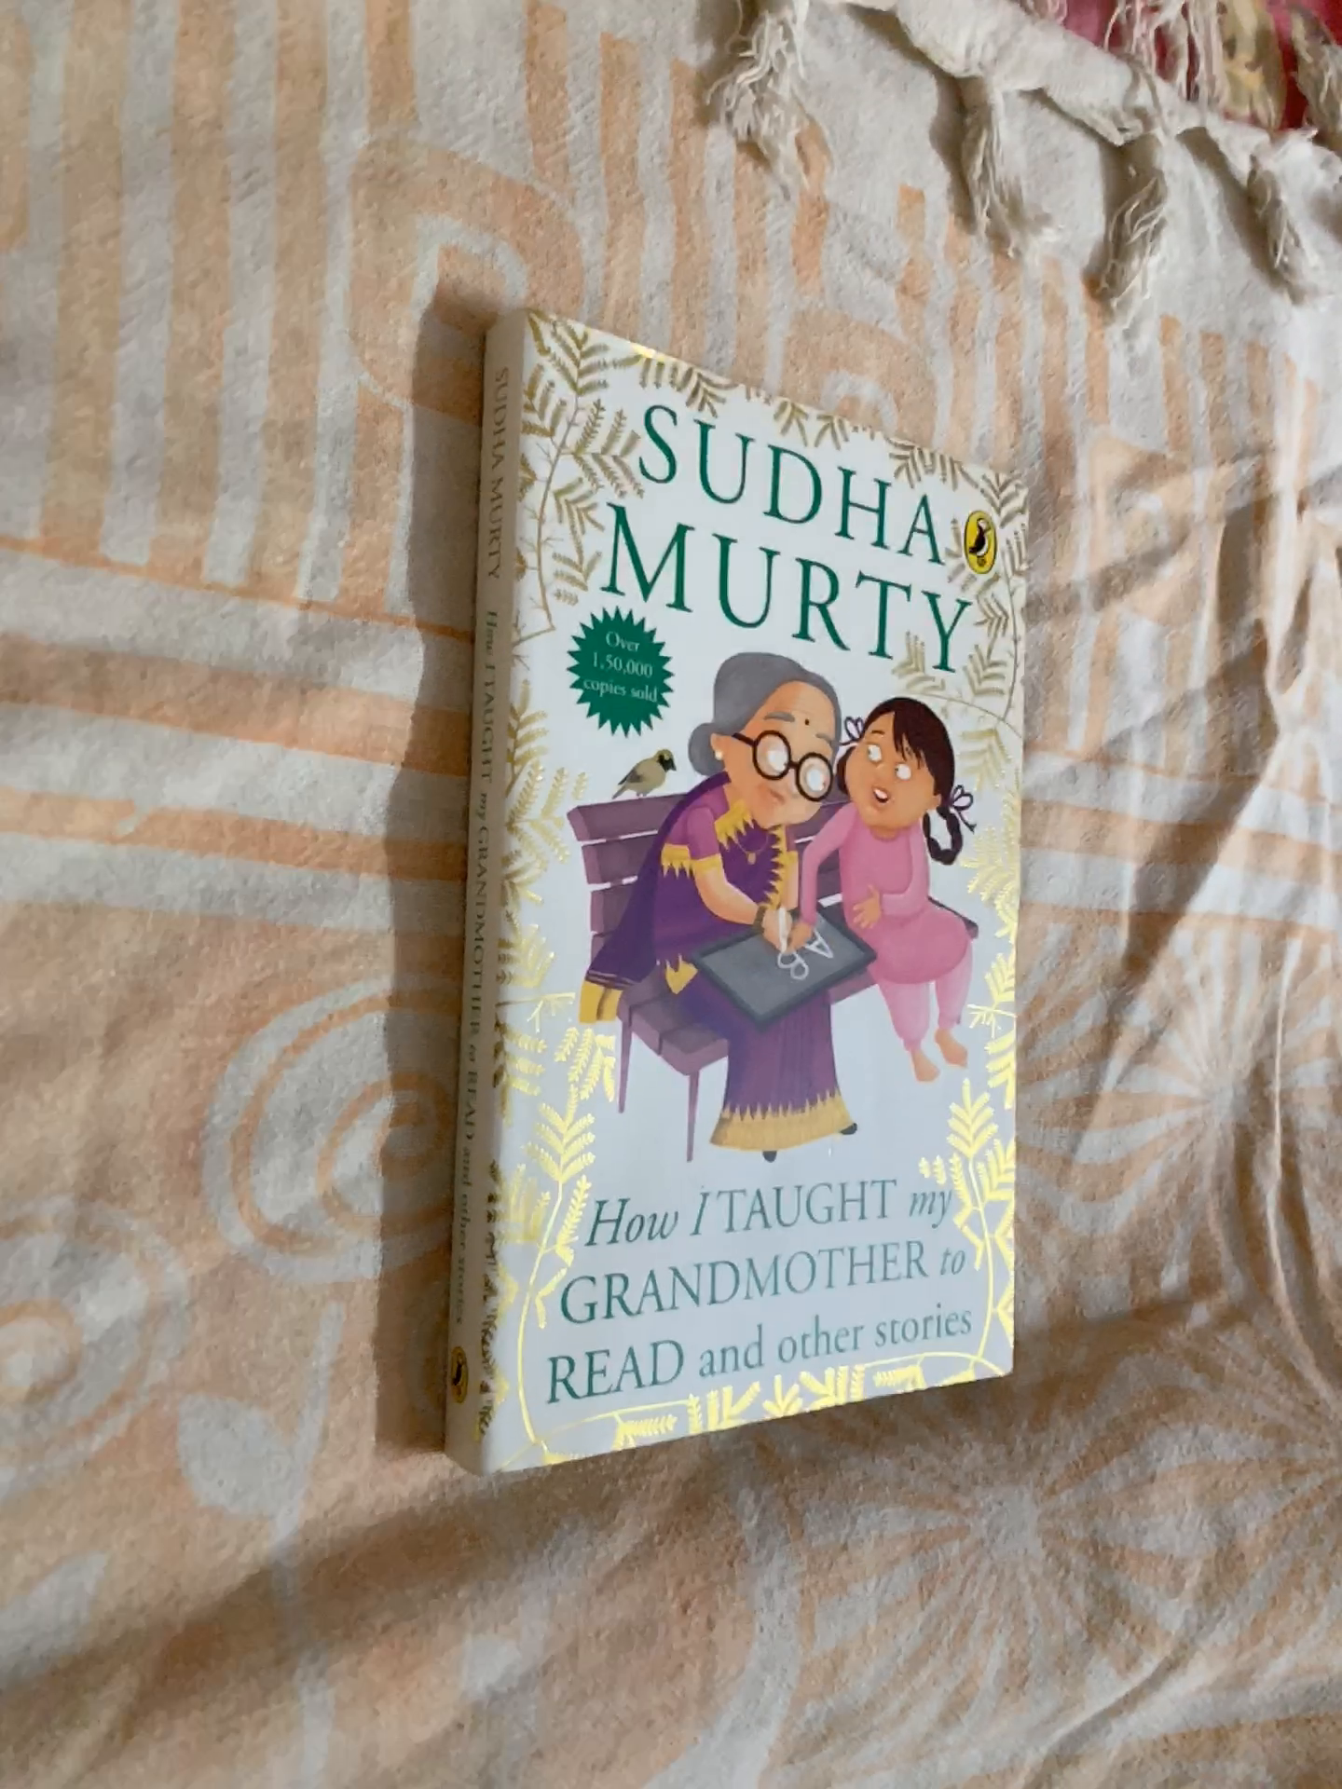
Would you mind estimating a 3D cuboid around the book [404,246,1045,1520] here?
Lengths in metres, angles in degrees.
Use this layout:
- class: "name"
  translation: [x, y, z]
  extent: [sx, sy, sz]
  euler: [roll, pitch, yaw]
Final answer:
- class: "book"
  translation: [0.016, -0.002, 0.261]
  extent: [0.131, 0.020, 0.200]
  euler: [4, 83, -34]
